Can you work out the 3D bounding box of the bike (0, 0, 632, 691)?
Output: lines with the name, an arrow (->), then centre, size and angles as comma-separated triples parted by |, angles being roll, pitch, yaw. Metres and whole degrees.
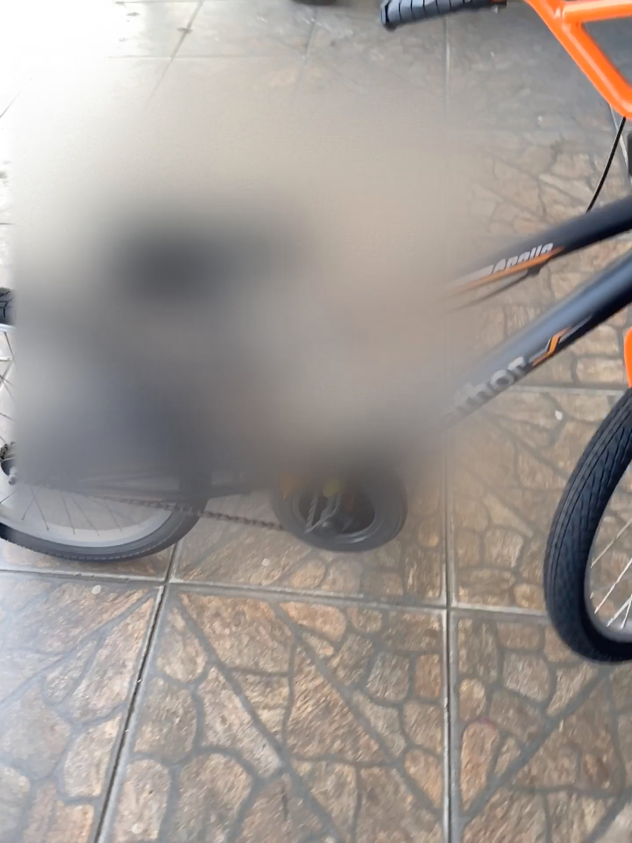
bike -> 0.016, -0.178, 0.824 | 1.349, 0.979, 0.726 | -1, 53, 1
